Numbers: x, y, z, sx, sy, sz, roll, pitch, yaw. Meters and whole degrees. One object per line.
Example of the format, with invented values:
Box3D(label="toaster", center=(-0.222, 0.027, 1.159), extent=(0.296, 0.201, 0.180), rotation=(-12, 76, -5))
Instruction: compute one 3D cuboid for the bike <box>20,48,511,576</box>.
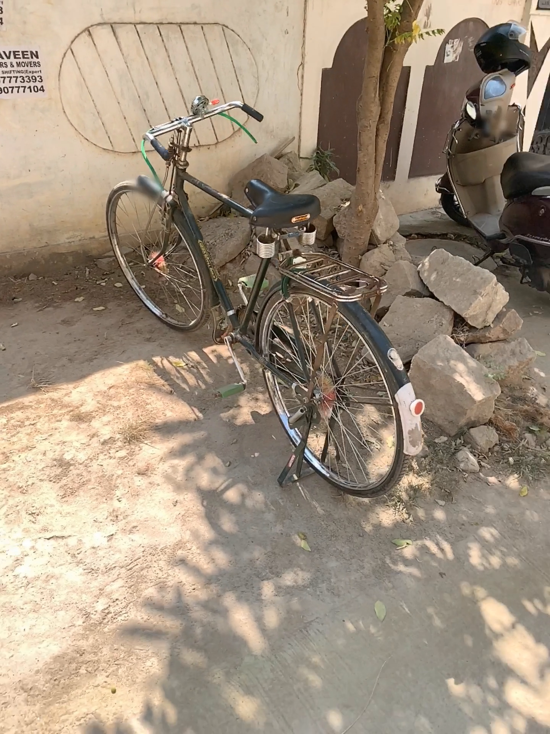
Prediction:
Box3D(label="bike", center=(-0.195, -0.333, 1.895), extent=(0.466, 0.994, 1.657), rotation=(-23, 45, -33))
